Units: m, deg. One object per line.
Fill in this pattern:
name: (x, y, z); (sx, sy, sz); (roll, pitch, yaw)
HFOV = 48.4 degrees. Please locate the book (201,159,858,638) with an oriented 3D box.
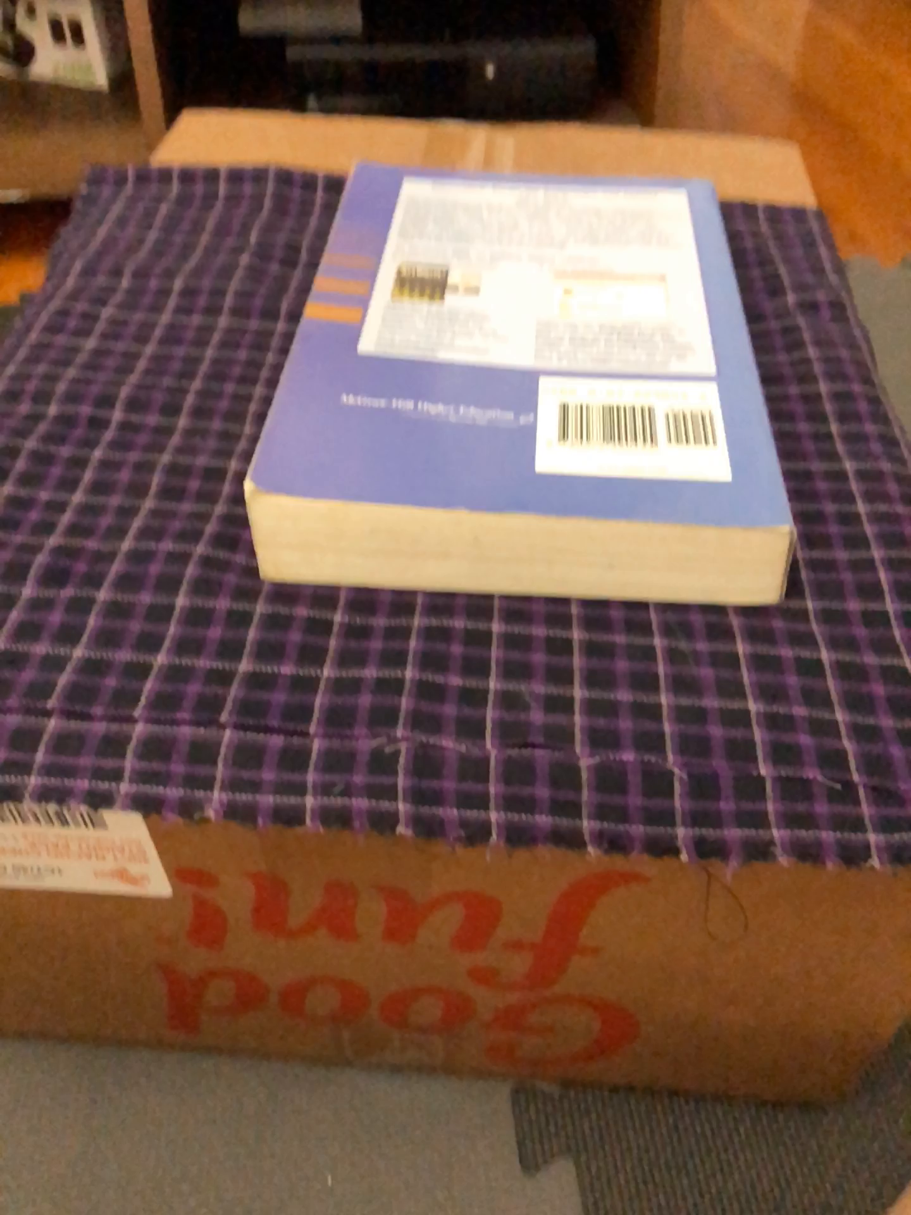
book: (0.026, -0.095, 0.376); (0.180, 0.040, 0.241); (2, 46, 2)
